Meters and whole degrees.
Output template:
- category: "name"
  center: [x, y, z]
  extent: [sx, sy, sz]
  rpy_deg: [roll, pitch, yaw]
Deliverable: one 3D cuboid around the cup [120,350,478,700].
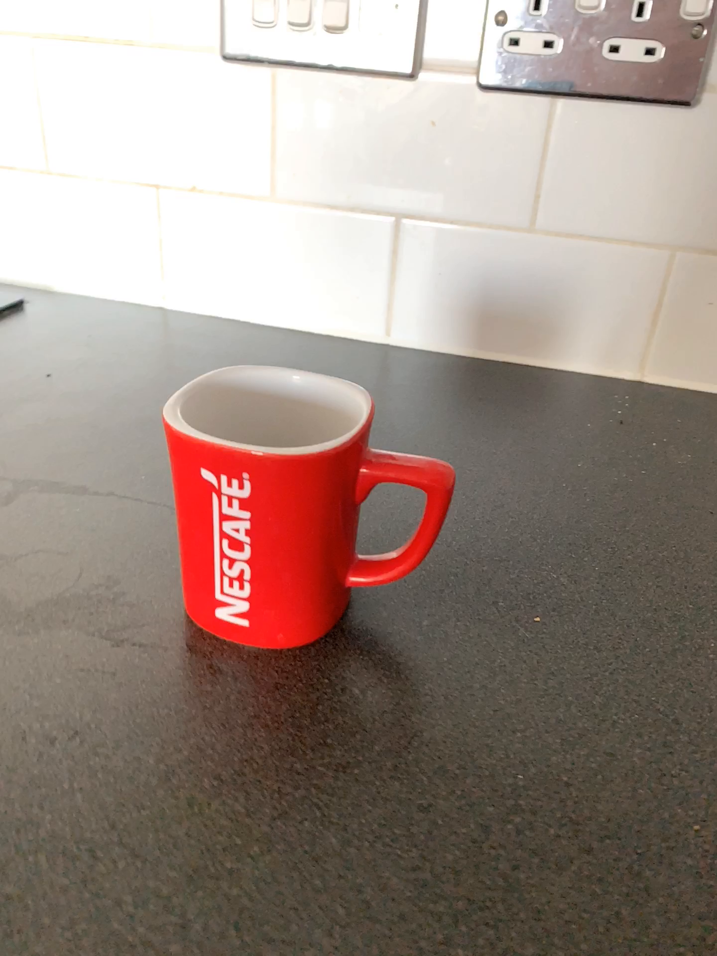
- category: "cup"
  center: [-0.021, 0.014, 0.289]
  extent: [0.112, 0.091, 0.067]
  rpy_deg: [13, 30, 14]
